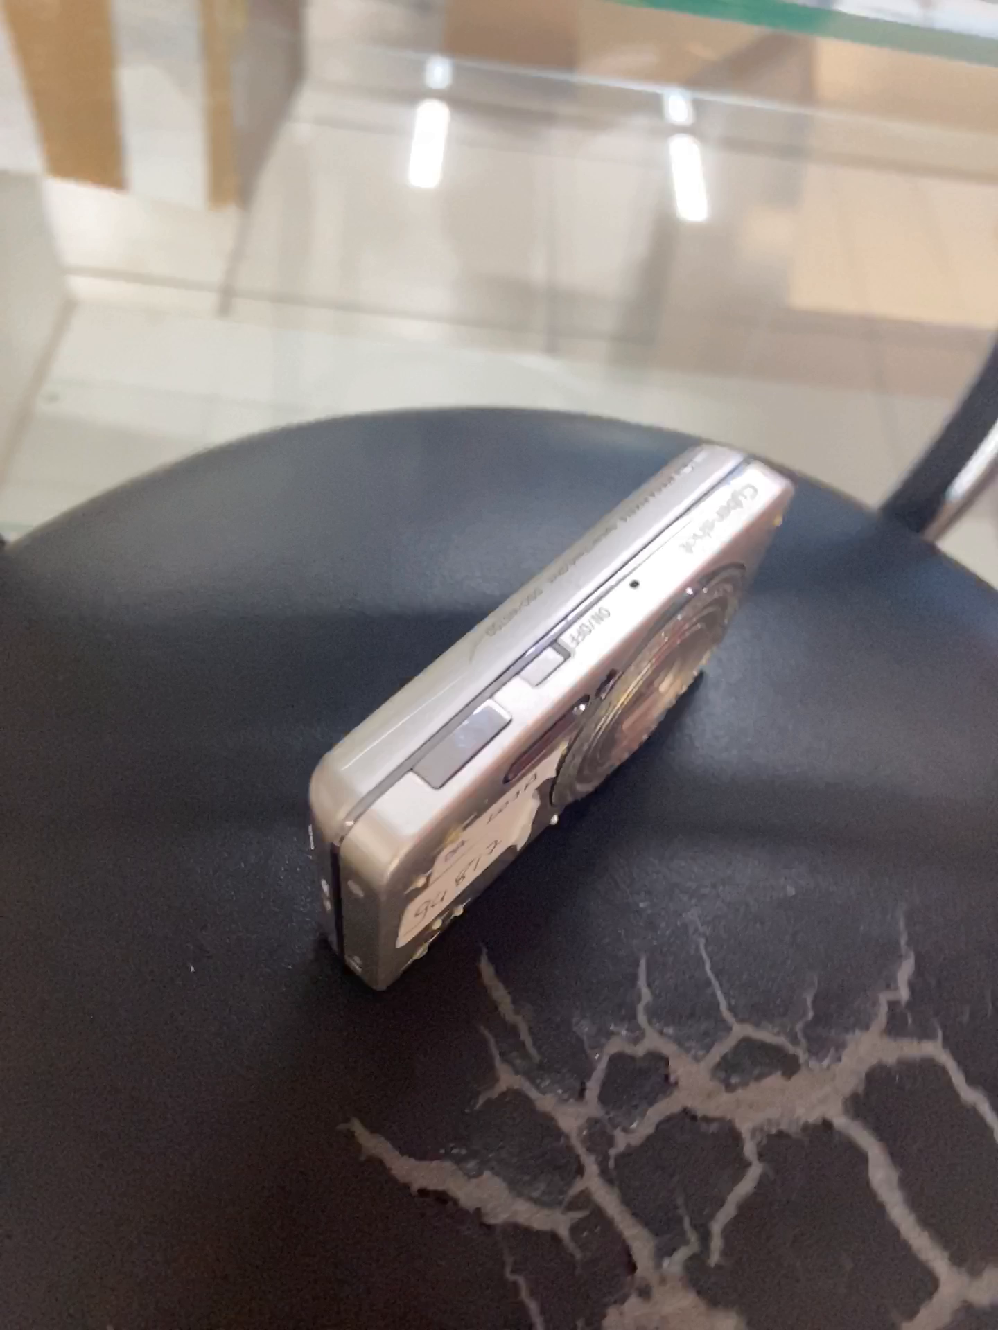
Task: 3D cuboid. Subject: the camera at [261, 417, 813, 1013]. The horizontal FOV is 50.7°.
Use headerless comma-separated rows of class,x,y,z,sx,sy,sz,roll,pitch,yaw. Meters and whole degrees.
camera,0.008,0.005,0.160,0.022,0.042,0.093,38,59,17
